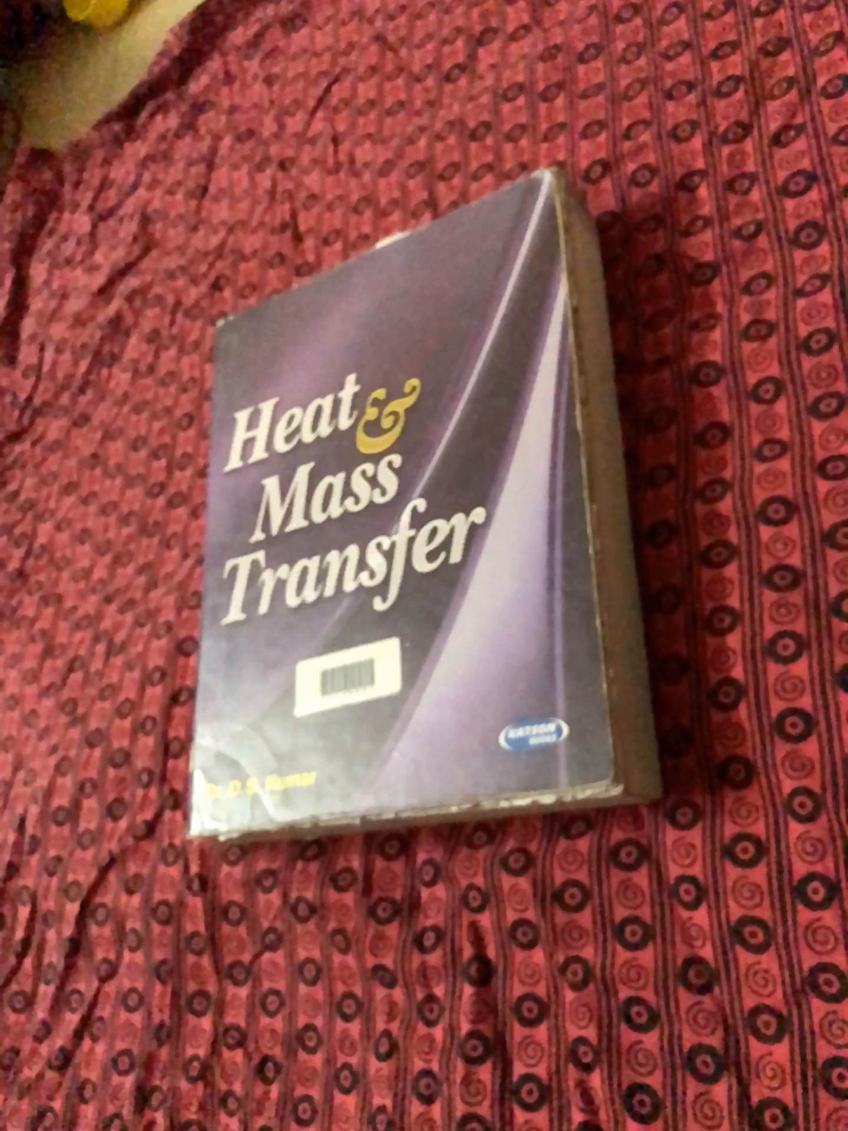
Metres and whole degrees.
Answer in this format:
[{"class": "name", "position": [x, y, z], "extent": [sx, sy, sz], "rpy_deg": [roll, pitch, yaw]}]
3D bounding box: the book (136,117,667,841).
[{"class": "book", "position": [-0.016, -0.021, 0.328], "extent": [0.171, 0.040, 0.211], "rpy_deg": [-14, 66, 32]}]
